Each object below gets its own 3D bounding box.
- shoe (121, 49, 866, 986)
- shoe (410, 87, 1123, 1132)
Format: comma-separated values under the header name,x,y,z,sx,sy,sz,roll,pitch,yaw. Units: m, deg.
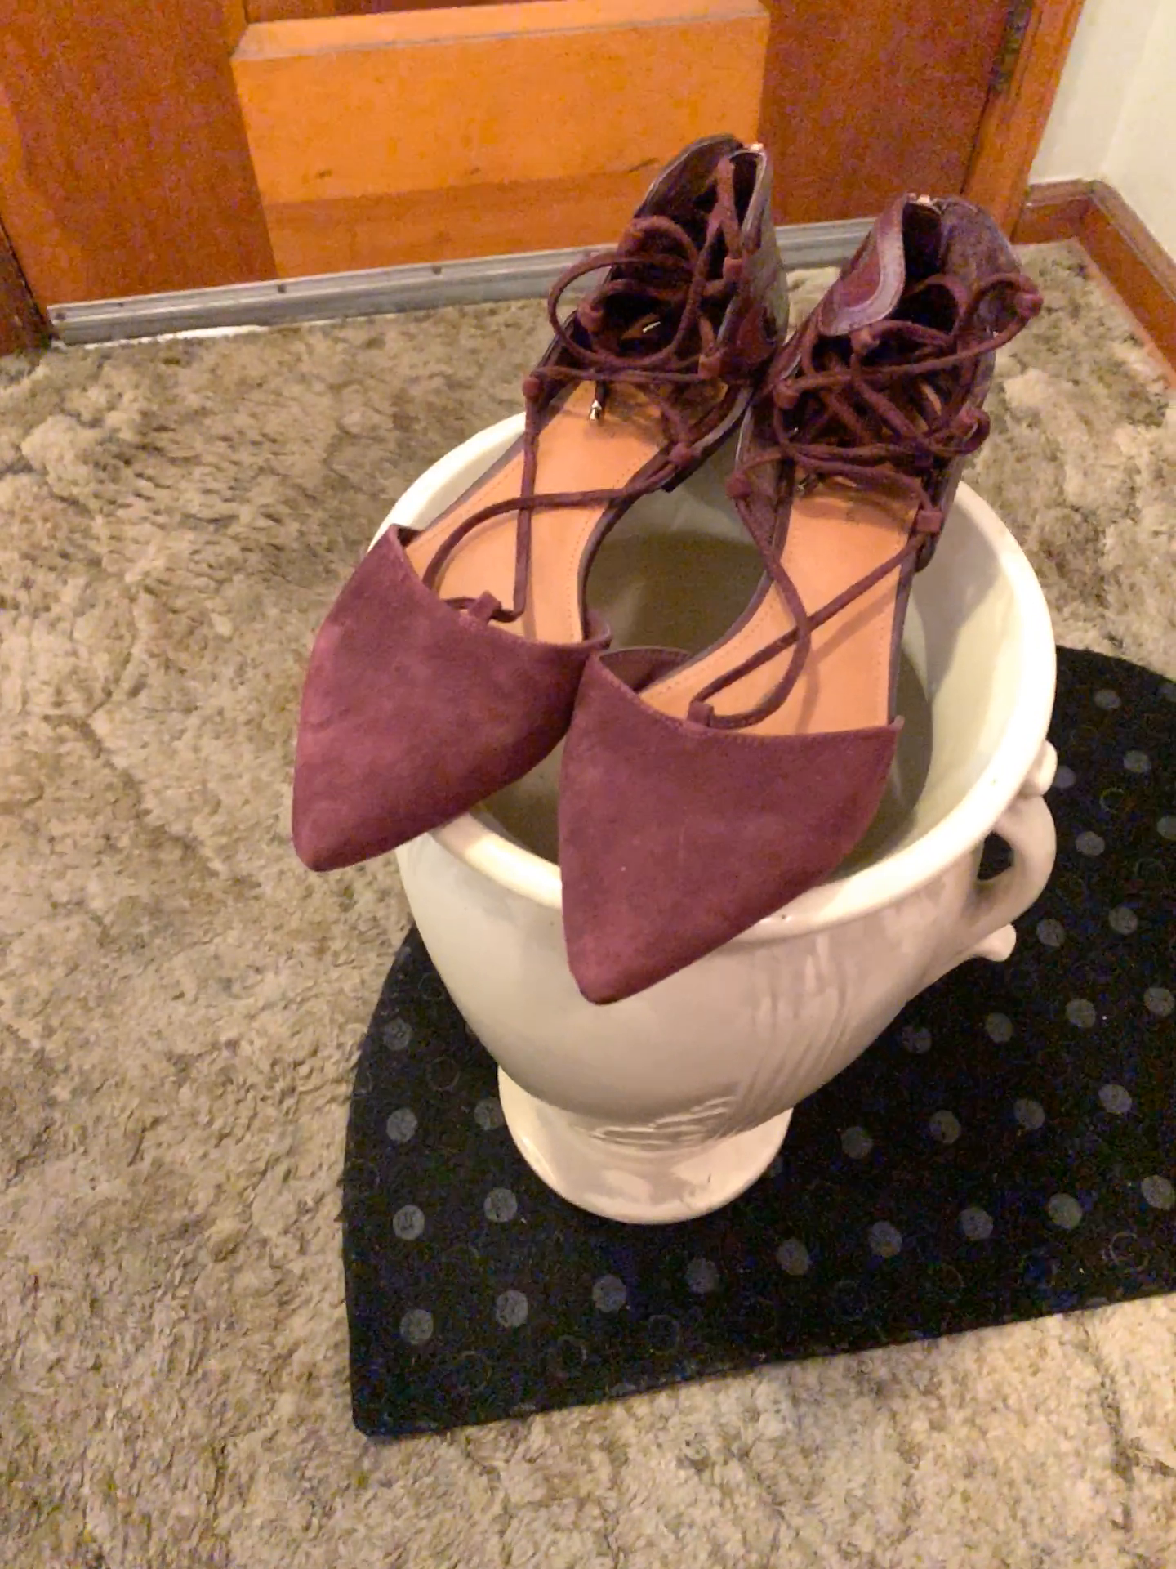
name,x,y,z,sx,sy,sz,roll,pitch,yaw
shoe,-0.015,-0.089,0.377,0.090,0.070,0.281,25,76,16
shoe,0.059,-0.061,0.333,0.090,0.070,0.282,19,68,13
